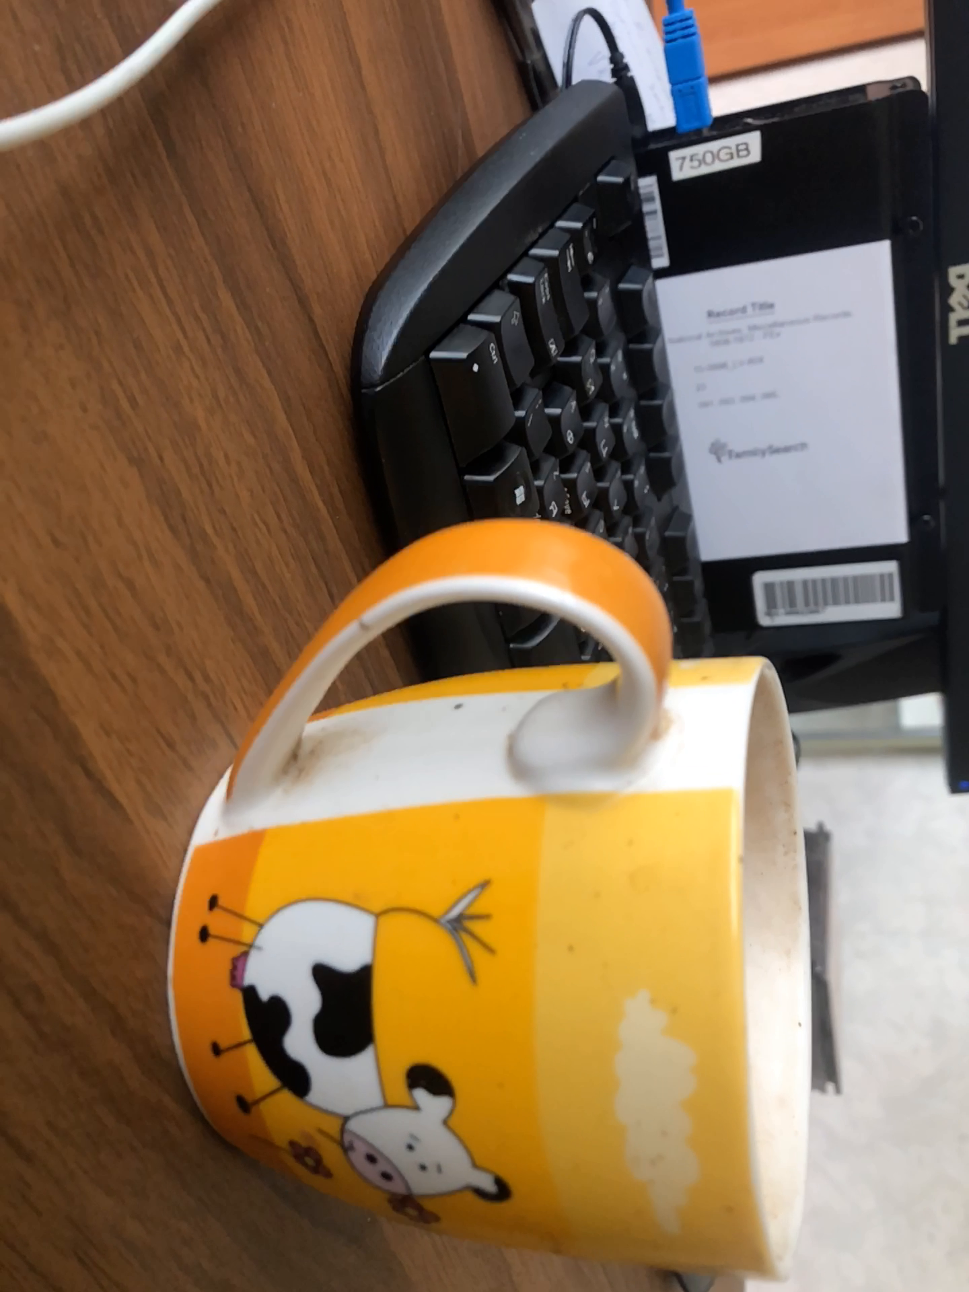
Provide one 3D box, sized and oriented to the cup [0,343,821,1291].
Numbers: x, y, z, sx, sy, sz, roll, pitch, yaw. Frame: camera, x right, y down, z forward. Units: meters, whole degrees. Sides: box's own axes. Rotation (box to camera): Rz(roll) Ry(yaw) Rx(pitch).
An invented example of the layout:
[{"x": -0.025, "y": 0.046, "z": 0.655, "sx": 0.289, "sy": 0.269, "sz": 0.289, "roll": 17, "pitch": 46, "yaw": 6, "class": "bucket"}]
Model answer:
[{"x": 0.001, "y": 0.037, "z": 0.184, "sx": 0.093, "sy": 0.095, "sz": 0.135, "roll": -67, "pitch": 146, "yaw": -50, "class": "cup"}]
